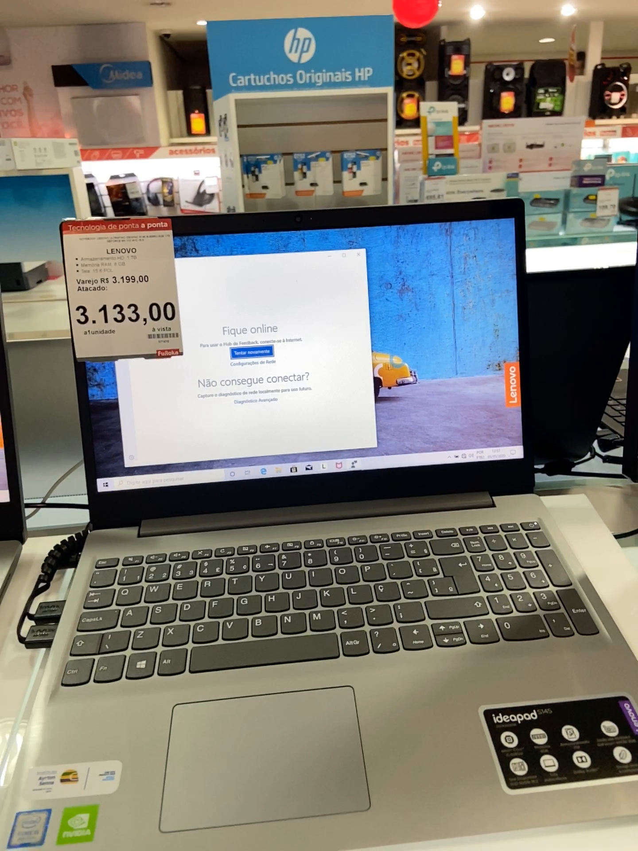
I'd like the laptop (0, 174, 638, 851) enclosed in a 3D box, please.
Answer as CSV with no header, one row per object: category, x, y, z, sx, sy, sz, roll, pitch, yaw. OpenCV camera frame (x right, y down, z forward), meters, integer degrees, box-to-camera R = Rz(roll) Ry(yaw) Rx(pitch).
laptop,0.000,0.001,0.427,0.362,0.224,0.361,-4,29,-3
